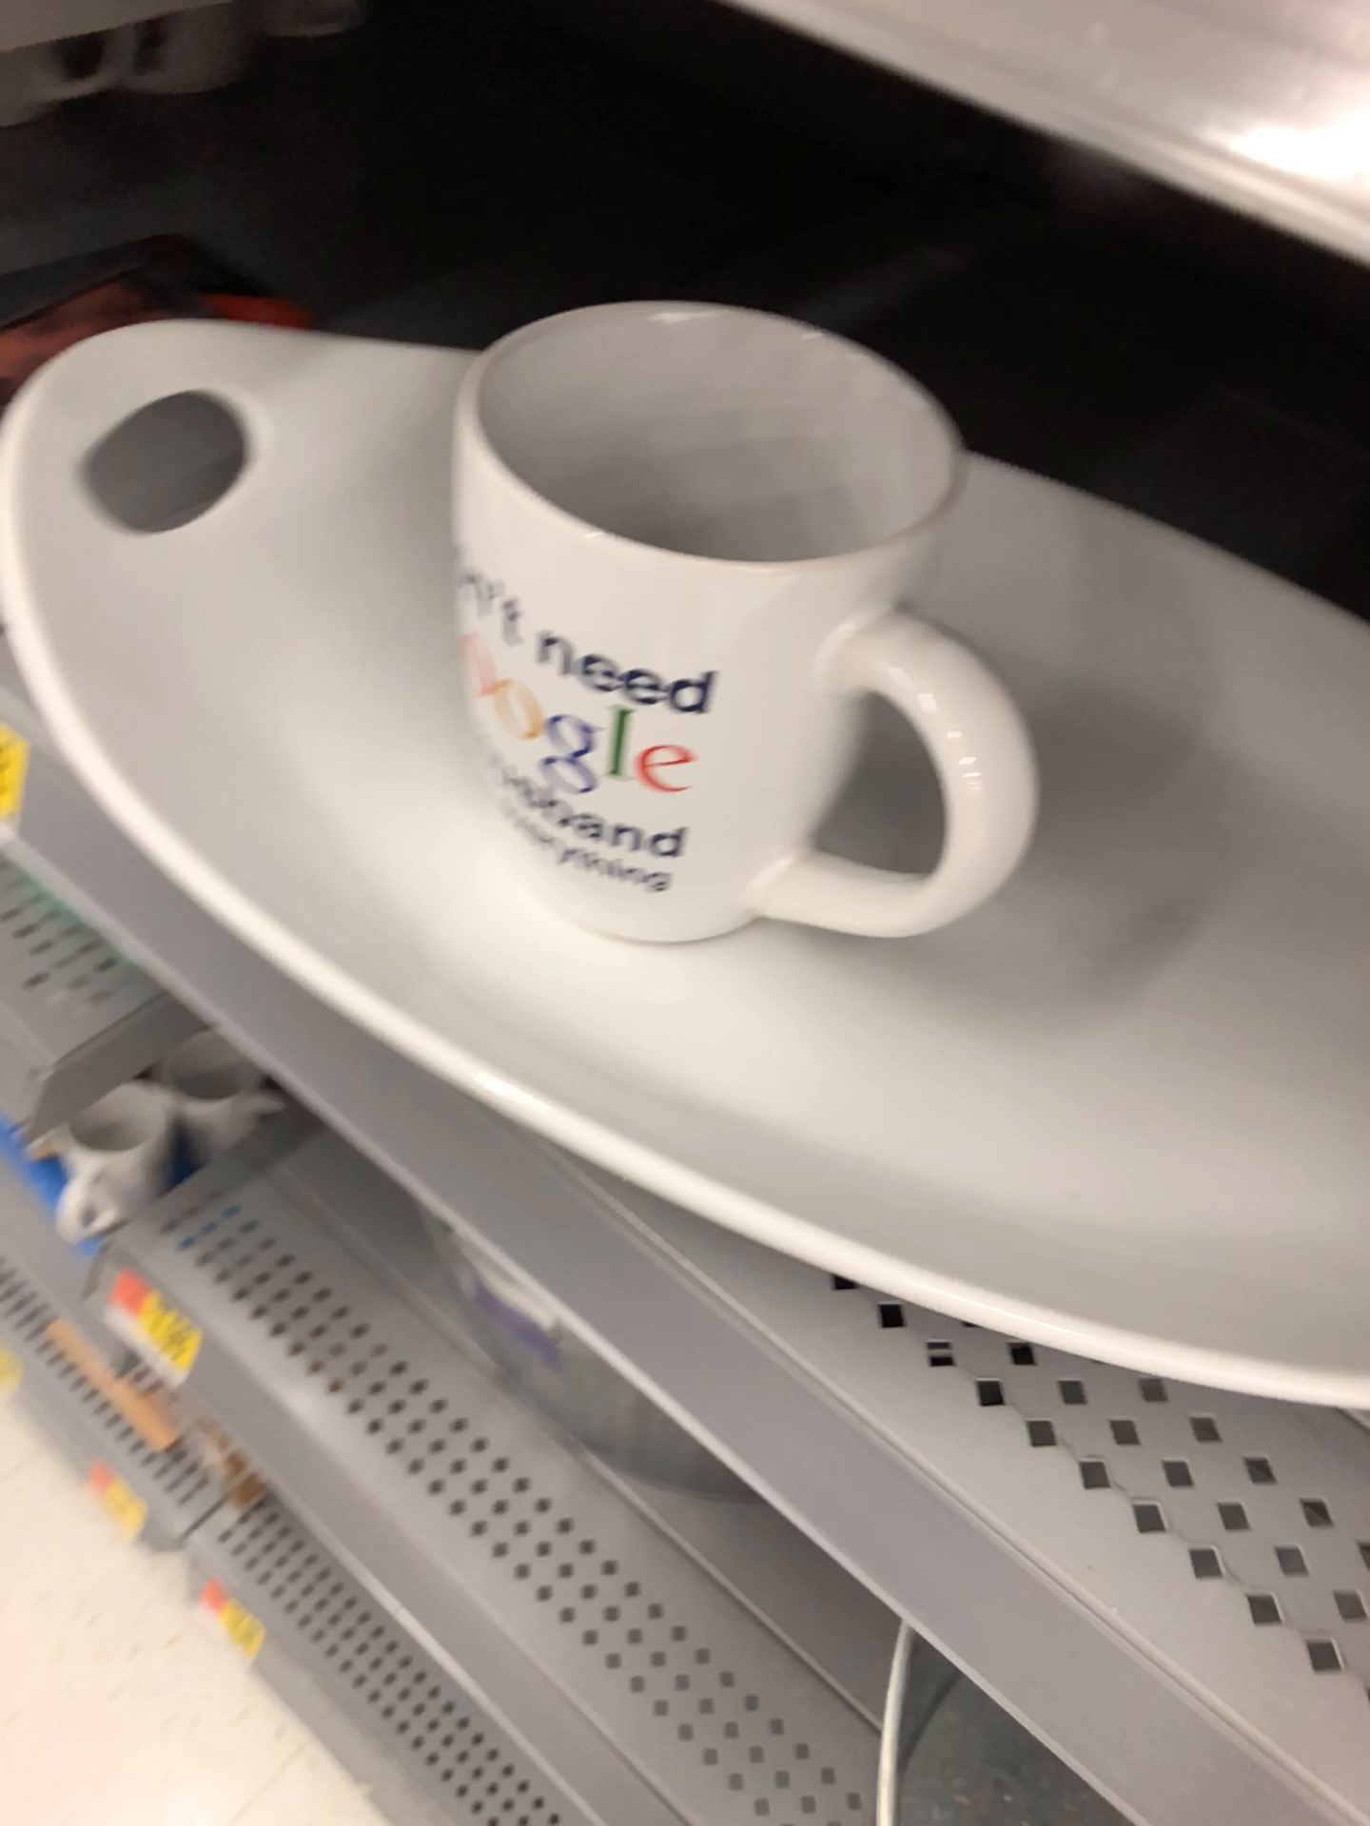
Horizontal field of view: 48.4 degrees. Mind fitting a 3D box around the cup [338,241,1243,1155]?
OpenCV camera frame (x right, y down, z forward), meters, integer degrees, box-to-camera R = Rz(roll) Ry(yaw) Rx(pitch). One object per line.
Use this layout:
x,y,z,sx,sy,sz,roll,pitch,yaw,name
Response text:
0.012,-0.054,0.343,0.104,0.108,0.154,-30,59,-30,cup
